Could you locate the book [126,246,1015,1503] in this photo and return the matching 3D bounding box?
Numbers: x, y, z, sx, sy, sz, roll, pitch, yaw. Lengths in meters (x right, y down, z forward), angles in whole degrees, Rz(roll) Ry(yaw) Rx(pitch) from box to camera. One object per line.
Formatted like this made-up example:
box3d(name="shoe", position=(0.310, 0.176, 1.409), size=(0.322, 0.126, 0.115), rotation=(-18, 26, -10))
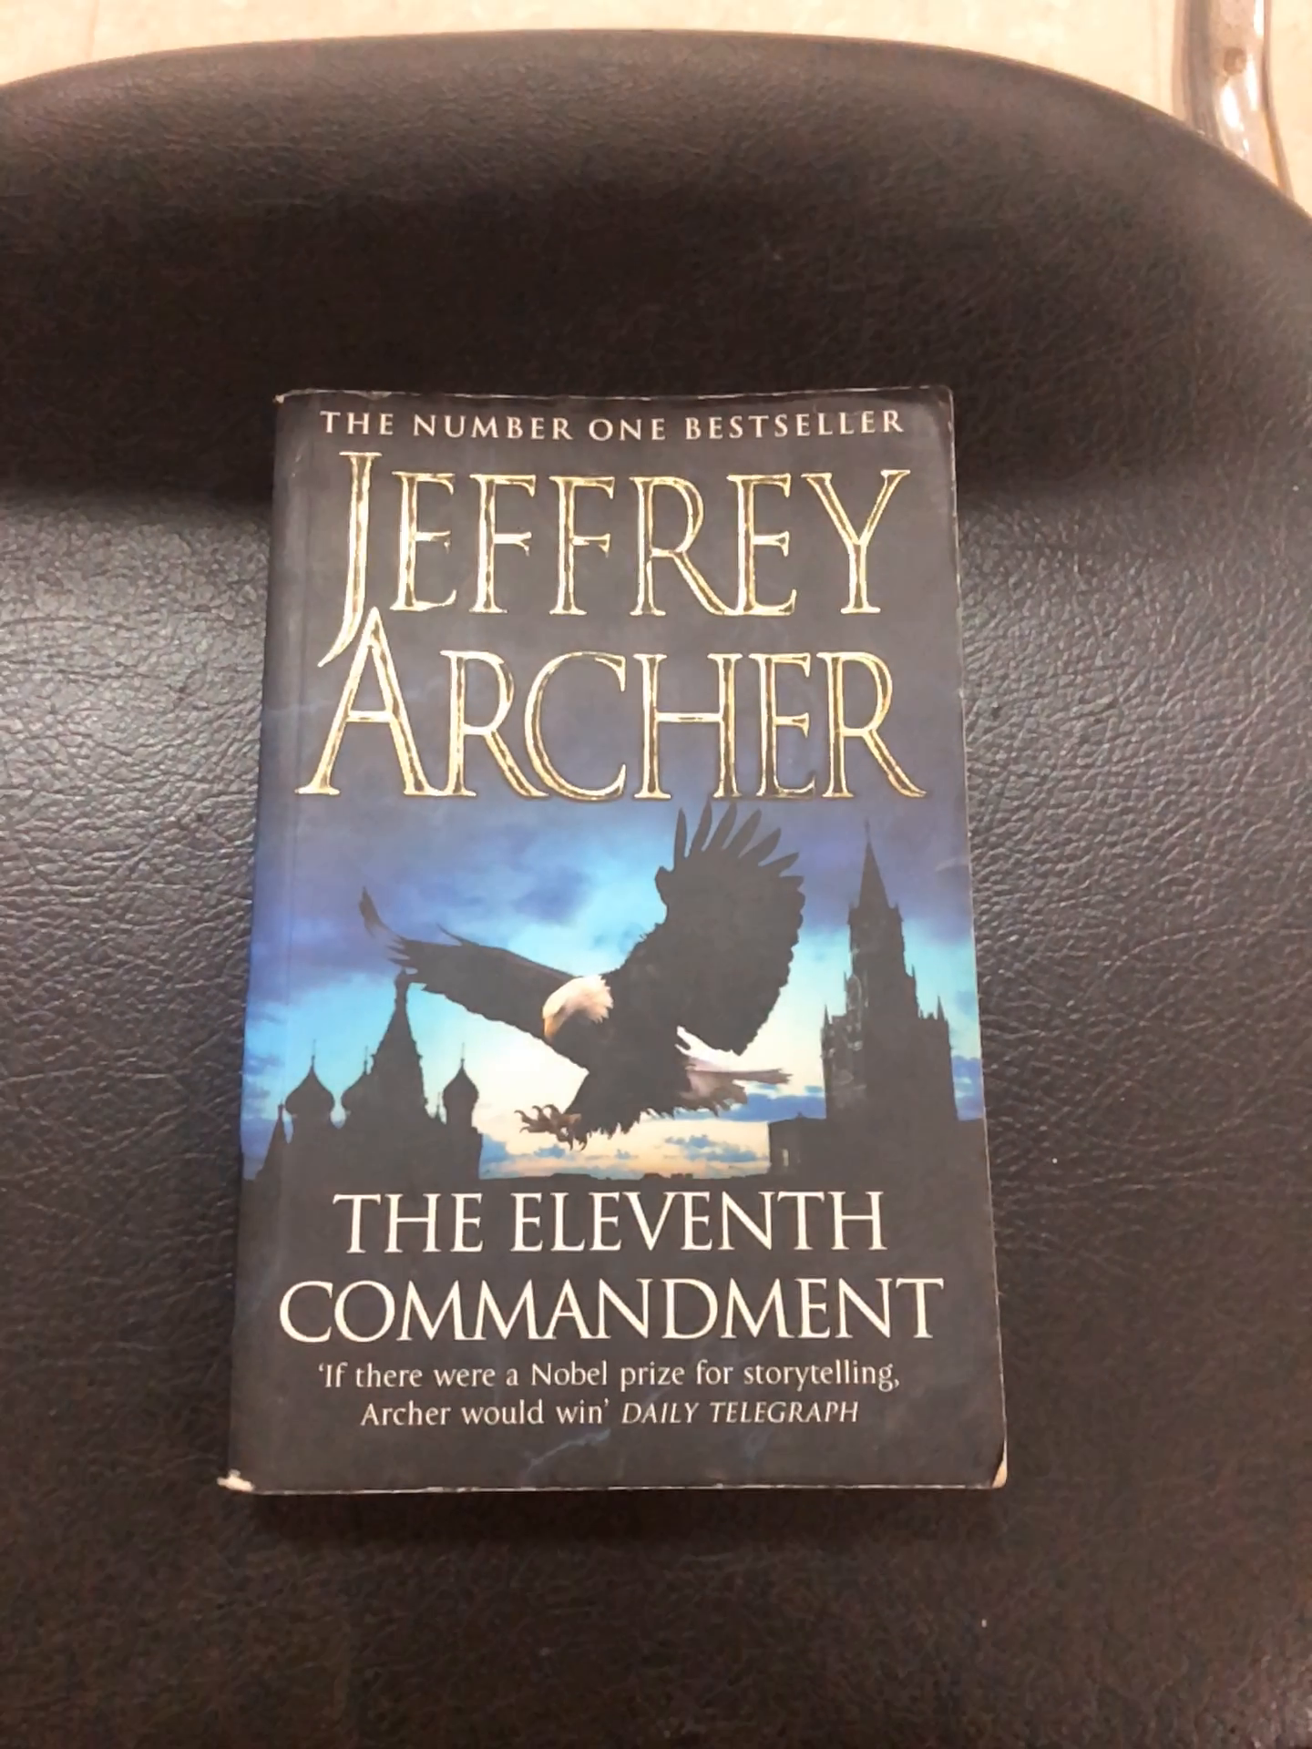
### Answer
box3d(name="book", position=(-0.012, -0.003, 0.253), size=(0.130, 0.040, 0.200), rotation=(1, 79, -4))
